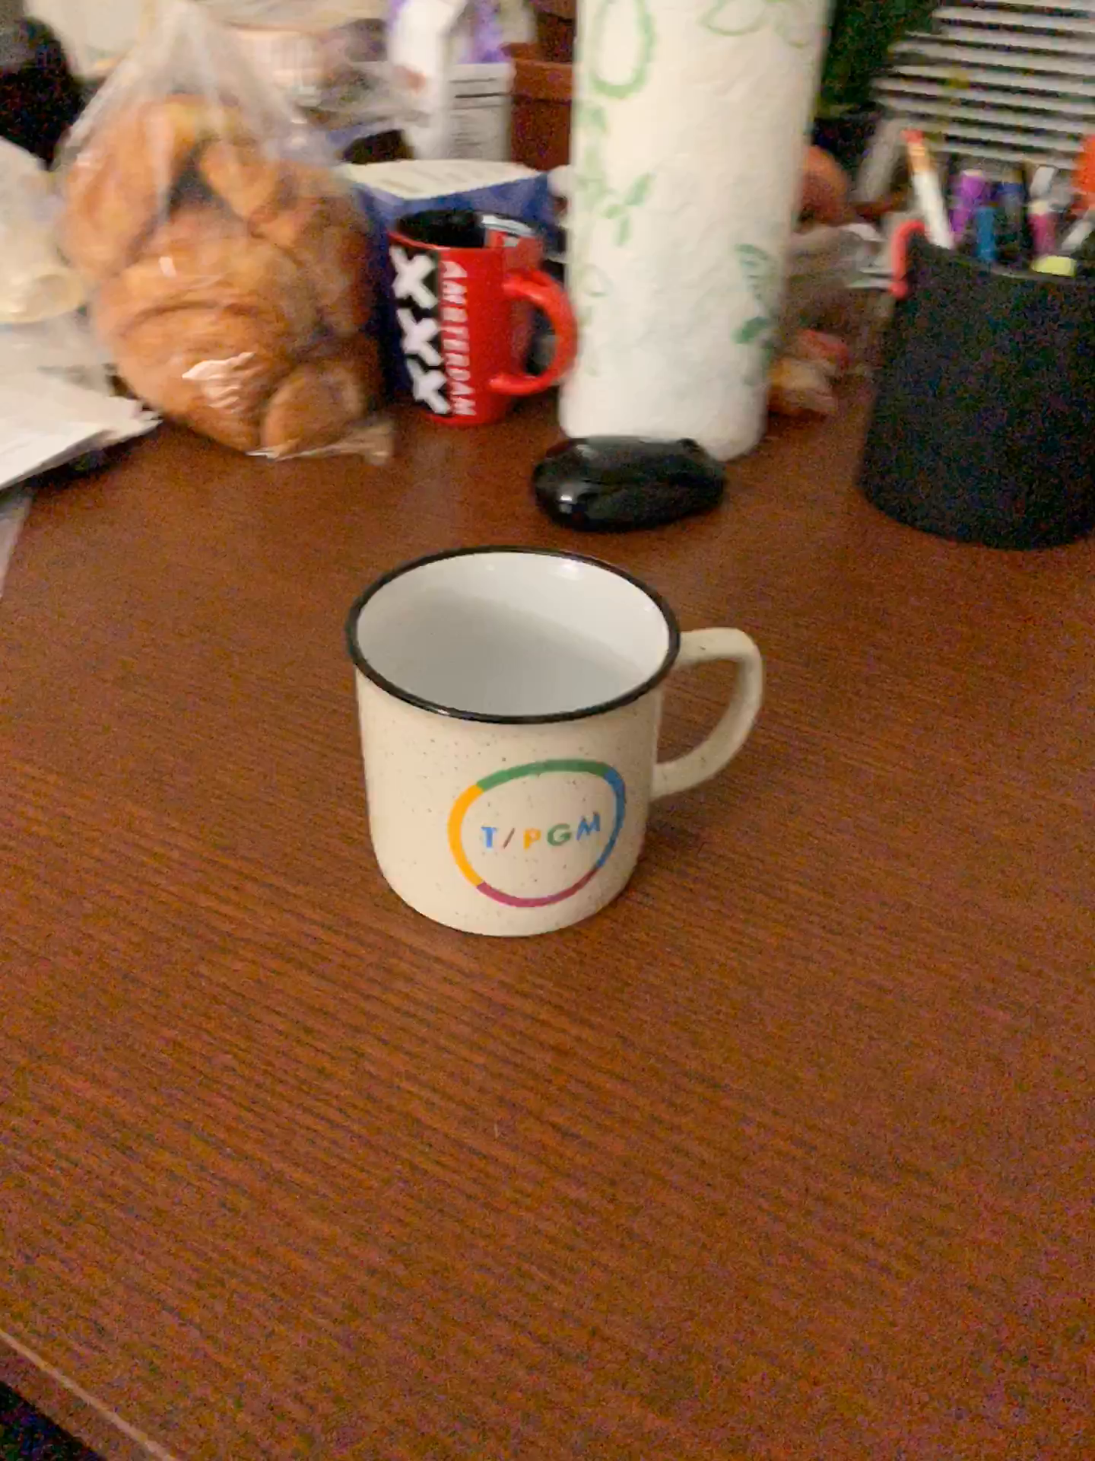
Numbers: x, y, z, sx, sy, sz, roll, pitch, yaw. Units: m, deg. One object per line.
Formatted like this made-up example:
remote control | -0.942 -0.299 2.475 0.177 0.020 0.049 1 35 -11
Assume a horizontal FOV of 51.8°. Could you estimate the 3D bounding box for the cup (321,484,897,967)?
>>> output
cup | 0.011 -0.007 0.370 0.150 0.099 0.101 -8 38 -14
